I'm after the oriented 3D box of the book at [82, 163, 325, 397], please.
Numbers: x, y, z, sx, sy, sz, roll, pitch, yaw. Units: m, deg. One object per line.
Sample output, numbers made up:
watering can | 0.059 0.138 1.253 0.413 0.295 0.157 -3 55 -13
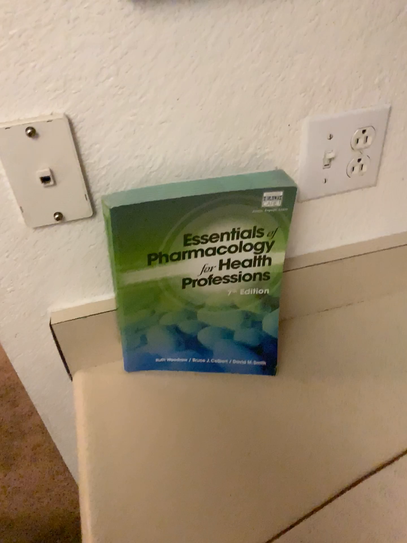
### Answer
book | -0.001 0.020 0.562 0.240 0.270 0.090 -7 40 -7
